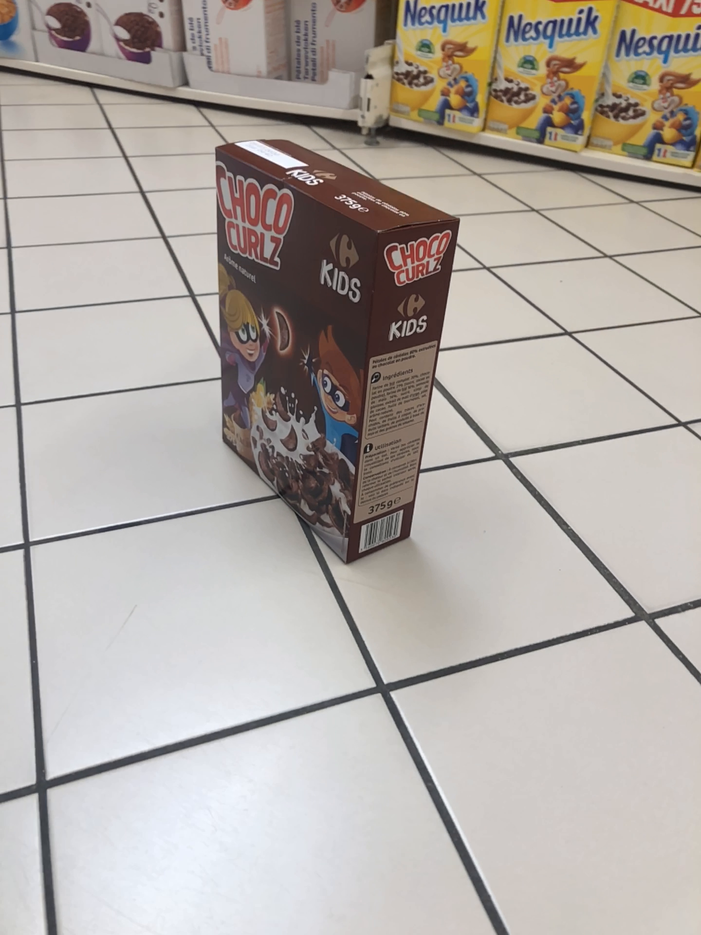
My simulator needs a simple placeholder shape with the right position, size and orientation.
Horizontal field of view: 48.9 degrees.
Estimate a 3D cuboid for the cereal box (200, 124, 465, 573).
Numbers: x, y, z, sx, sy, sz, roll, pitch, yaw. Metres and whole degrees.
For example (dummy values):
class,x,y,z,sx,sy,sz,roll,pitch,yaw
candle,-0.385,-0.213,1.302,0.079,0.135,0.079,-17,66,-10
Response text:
class,x,y,z,sx,sy,sz,roll,pitch,yaw
cereal box,-0.027,-0.090,0.569,0.070,0.258,0.200,-20,42,-30
